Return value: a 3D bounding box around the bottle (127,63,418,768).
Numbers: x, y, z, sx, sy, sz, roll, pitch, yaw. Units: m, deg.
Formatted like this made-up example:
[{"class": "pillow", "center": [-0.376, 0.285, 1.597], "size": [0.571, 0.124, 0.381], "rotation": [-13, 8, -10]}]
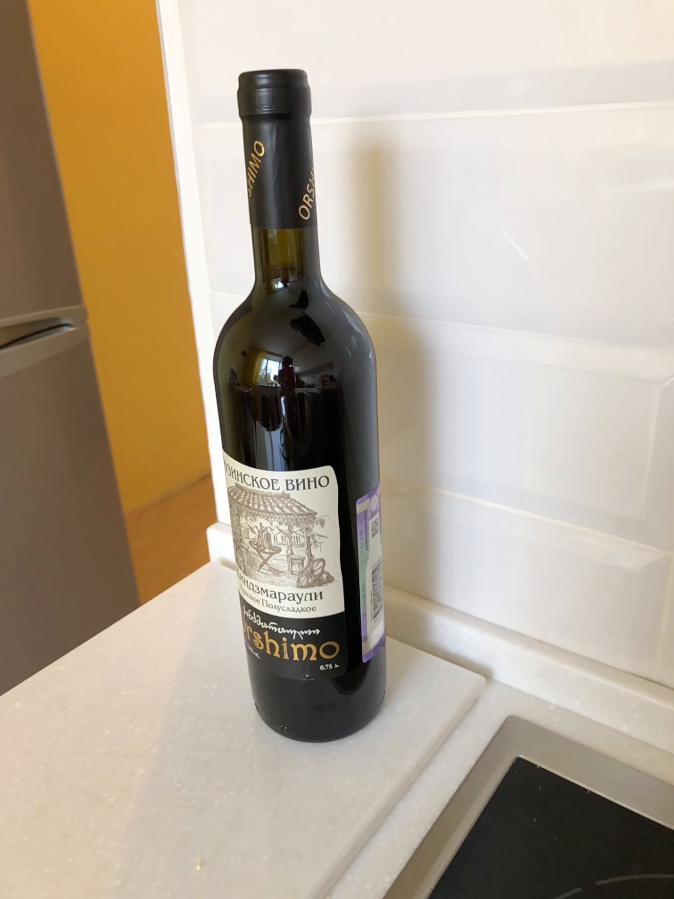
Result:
[{"class": "bottle", "center": [-0.016, -0.008, 0.345], "size": [0.080, 0.298, 0.080], "rotation": [-2, 23, 1]}]
